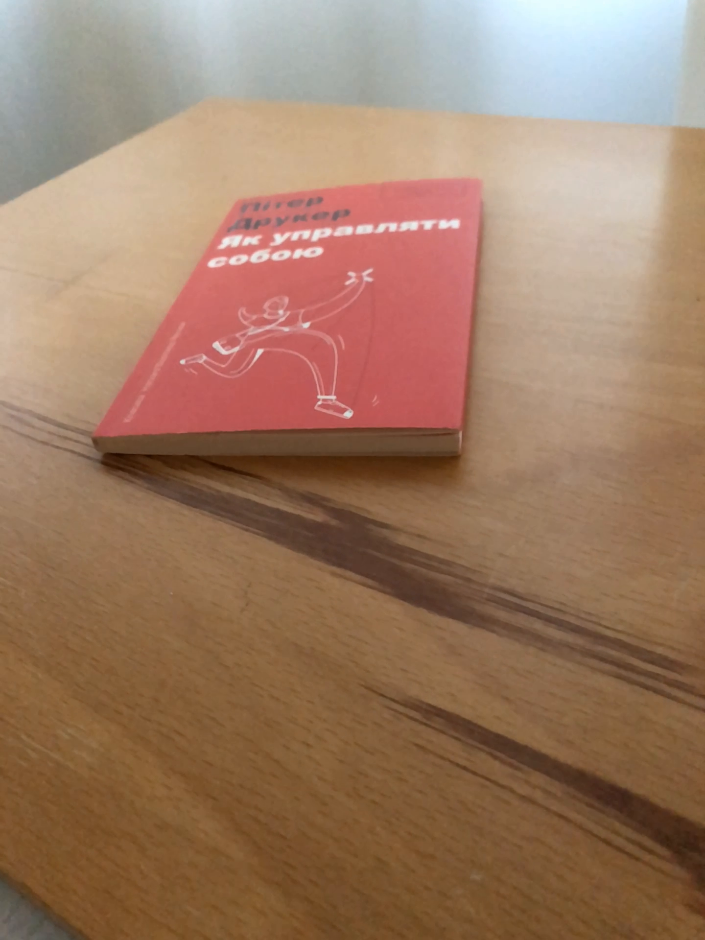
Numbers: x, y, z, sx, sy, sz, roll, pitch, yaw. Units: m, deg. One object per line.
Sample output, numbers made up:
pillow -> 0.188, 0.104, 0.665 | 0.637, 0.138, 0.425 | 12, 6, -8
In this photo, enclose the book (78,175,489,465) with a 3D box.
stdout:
book -> -0.011, -0.061, 0.281 | 0.111, 0.013, 0.165 | -1, 41, 13
